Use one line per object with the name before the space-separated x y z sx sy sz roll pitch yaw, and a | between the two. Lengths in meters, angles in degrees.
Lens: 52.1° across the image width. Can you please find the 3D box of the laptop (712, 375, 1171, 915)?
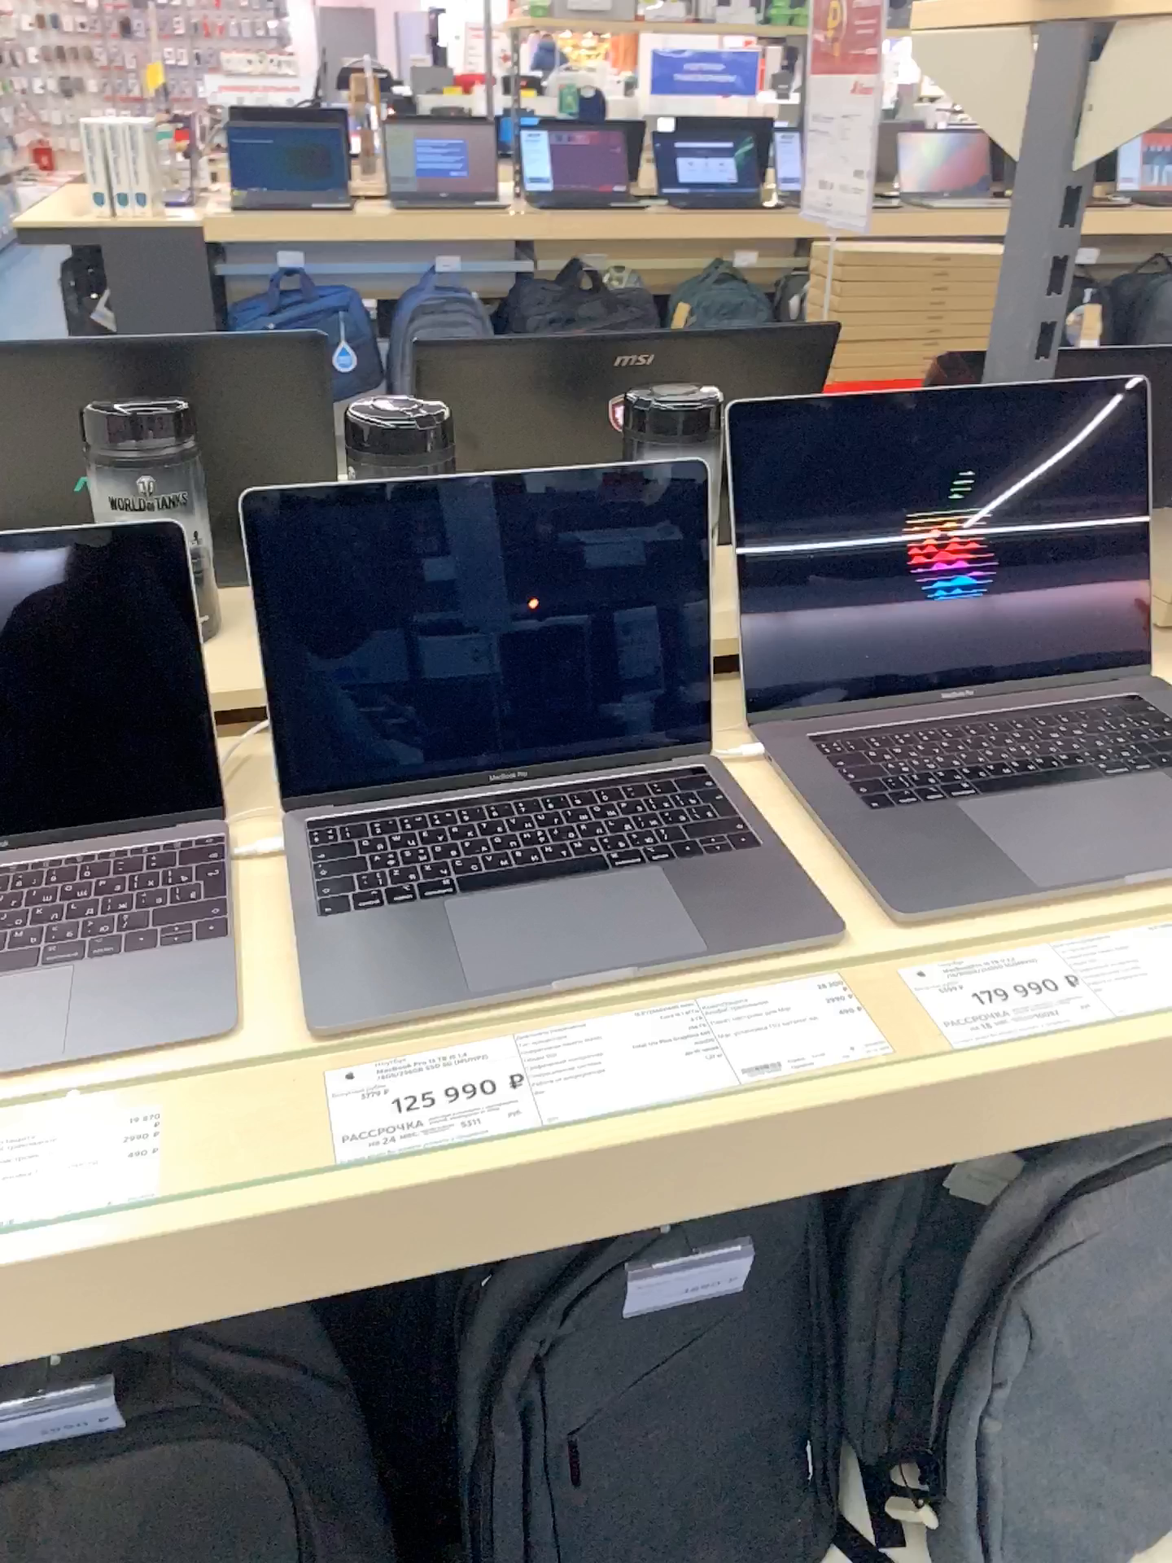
laptop | 0.310 -0.119 0.808 0.346 0.210 0.329 -7 31 -12

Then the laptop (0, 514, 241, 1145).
laptop | -0.345 -0.001 0.638 0.280 0.172 0.267 -8 33 -14

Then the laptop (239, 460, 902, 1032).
laptop | -0.029 -0.044 0.698 0.299 0.195 0.261 -8 32 -15
